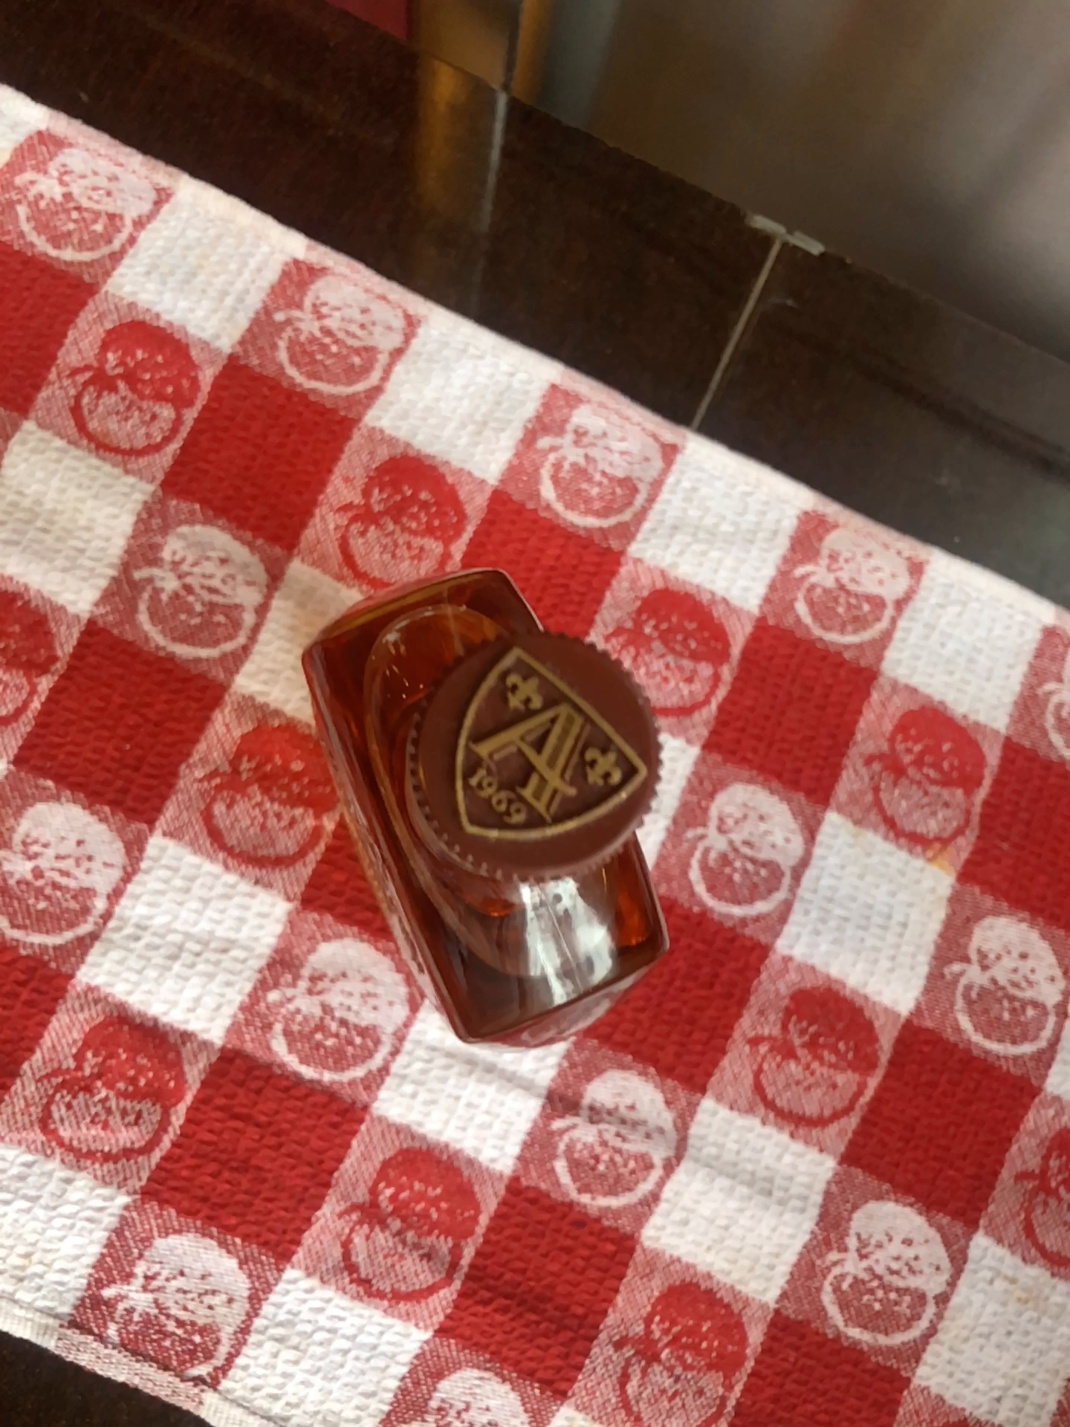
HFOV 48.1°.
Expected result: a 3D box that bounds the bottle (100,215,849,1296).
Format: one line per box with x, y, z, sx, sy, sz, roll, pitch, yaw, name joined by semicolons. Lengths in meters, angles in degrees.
-0.019;0.015;0.241;0.050;0.220;0.110;-19;85;-9;bottle
